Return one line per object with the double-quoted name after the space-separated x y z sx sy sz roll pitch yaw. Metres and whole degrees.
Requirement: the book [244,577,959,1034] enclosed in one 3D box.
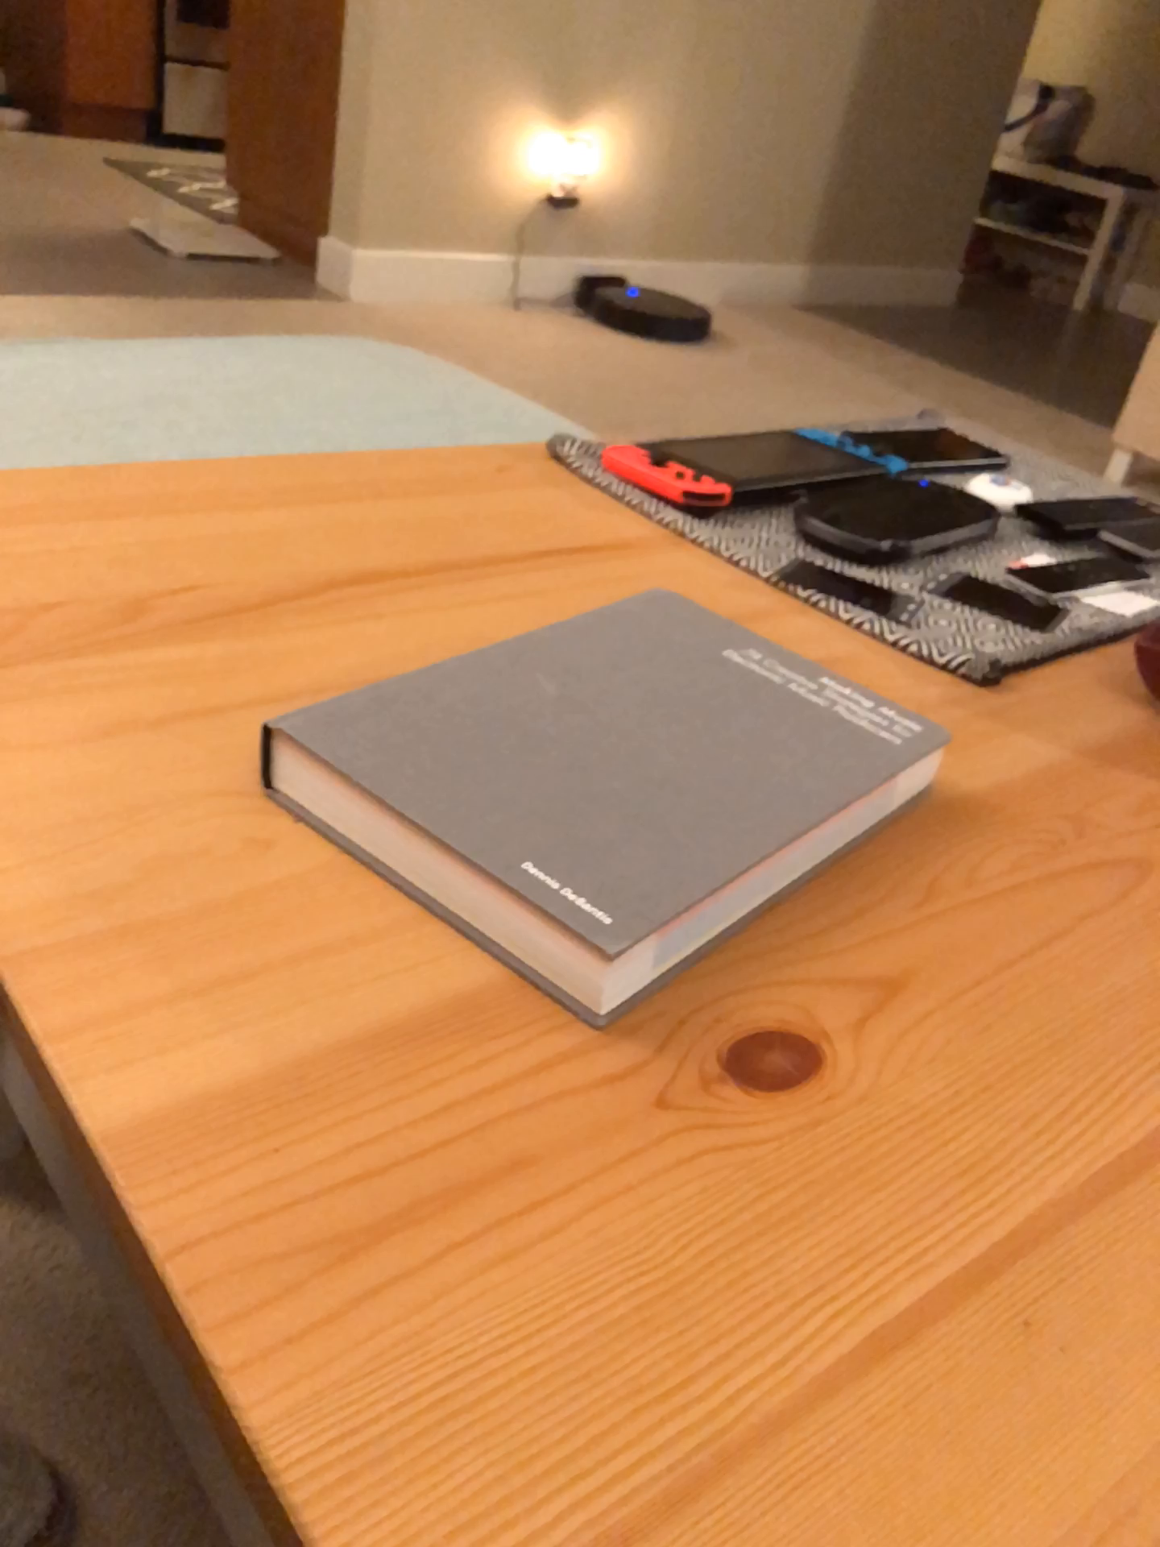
0.017 -0.008 0.495 0.167 0.030 0.228 31 37 30 "book"
